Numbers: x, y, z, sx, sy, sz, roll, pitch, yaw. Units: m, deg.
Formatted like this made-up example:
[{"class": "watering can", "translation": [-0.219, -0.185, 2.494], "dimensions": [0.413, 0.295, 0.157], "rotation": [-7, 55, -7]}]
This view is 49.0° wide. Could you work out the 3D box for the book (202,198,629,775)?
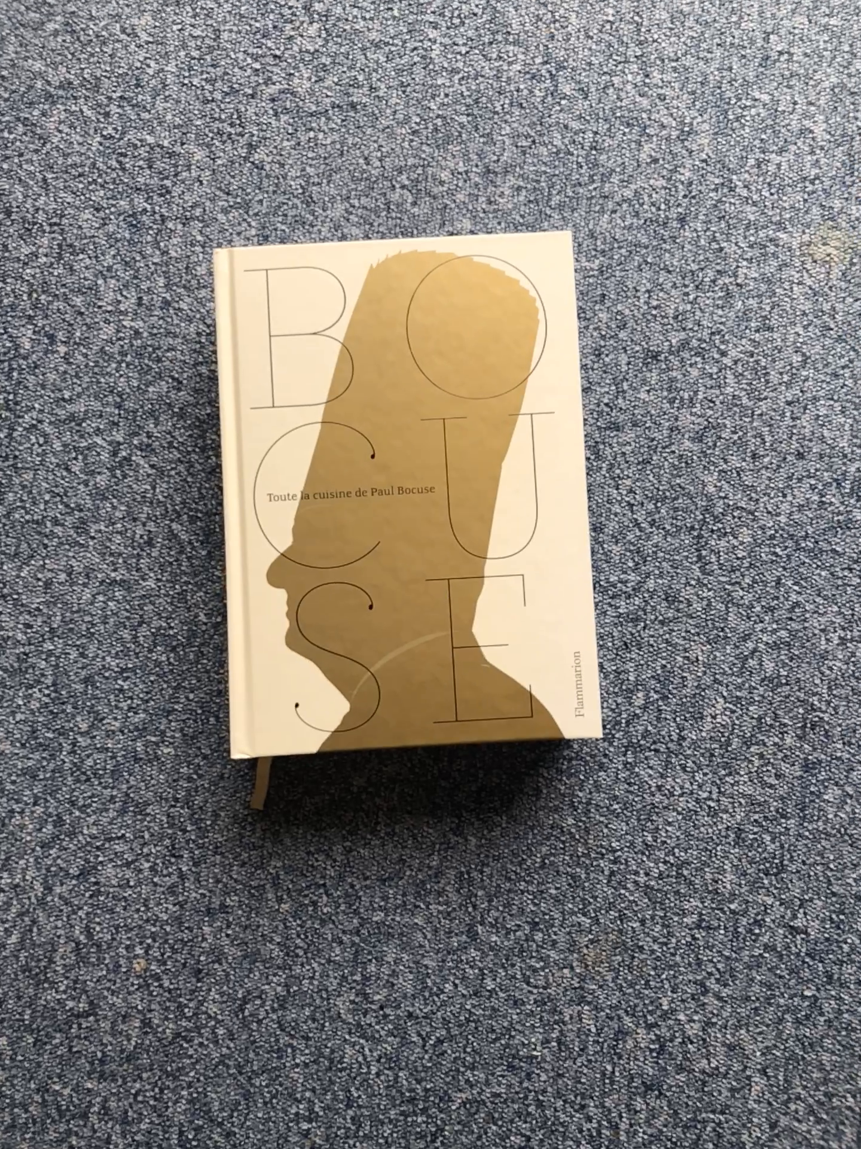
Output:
[{"class": "book", "translation": [-0.010, -0.044, 0.507], "dimensions": [0.200, 0.080, 0.280], "rotation": [-2, 85, -1]}]
